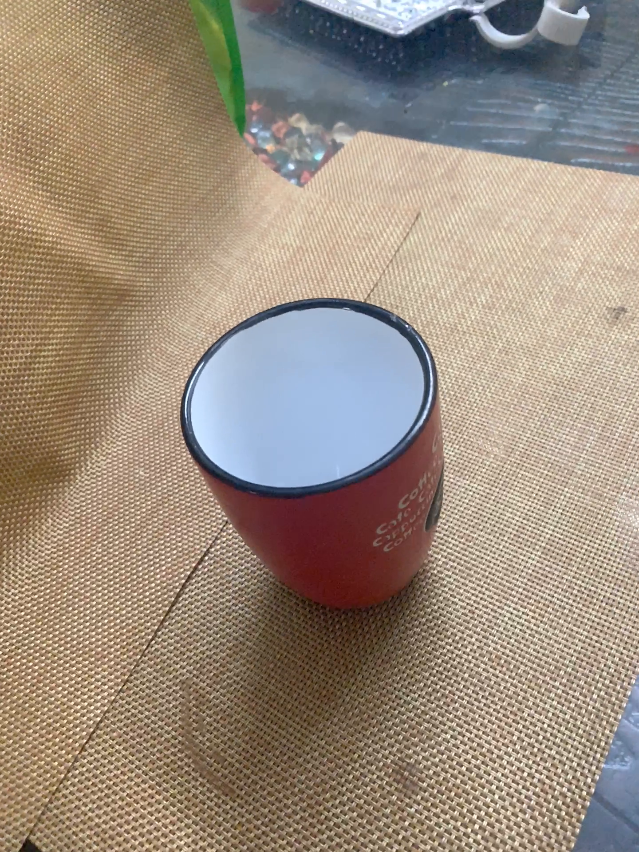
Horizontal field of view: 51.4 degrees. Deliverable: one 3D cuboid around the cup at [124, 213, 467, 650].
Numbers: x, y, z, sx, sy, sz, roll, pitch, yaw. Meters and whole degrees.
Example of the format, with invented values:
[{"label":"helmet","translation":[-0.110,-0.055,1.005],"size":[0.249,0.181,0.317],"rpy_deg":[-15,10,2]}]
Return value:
[{"label":"cup","translation":[0.006,0.004,0.246],"size":[0.090,0.099,0.121],"rpy_deg":[-2,52,12]}]
